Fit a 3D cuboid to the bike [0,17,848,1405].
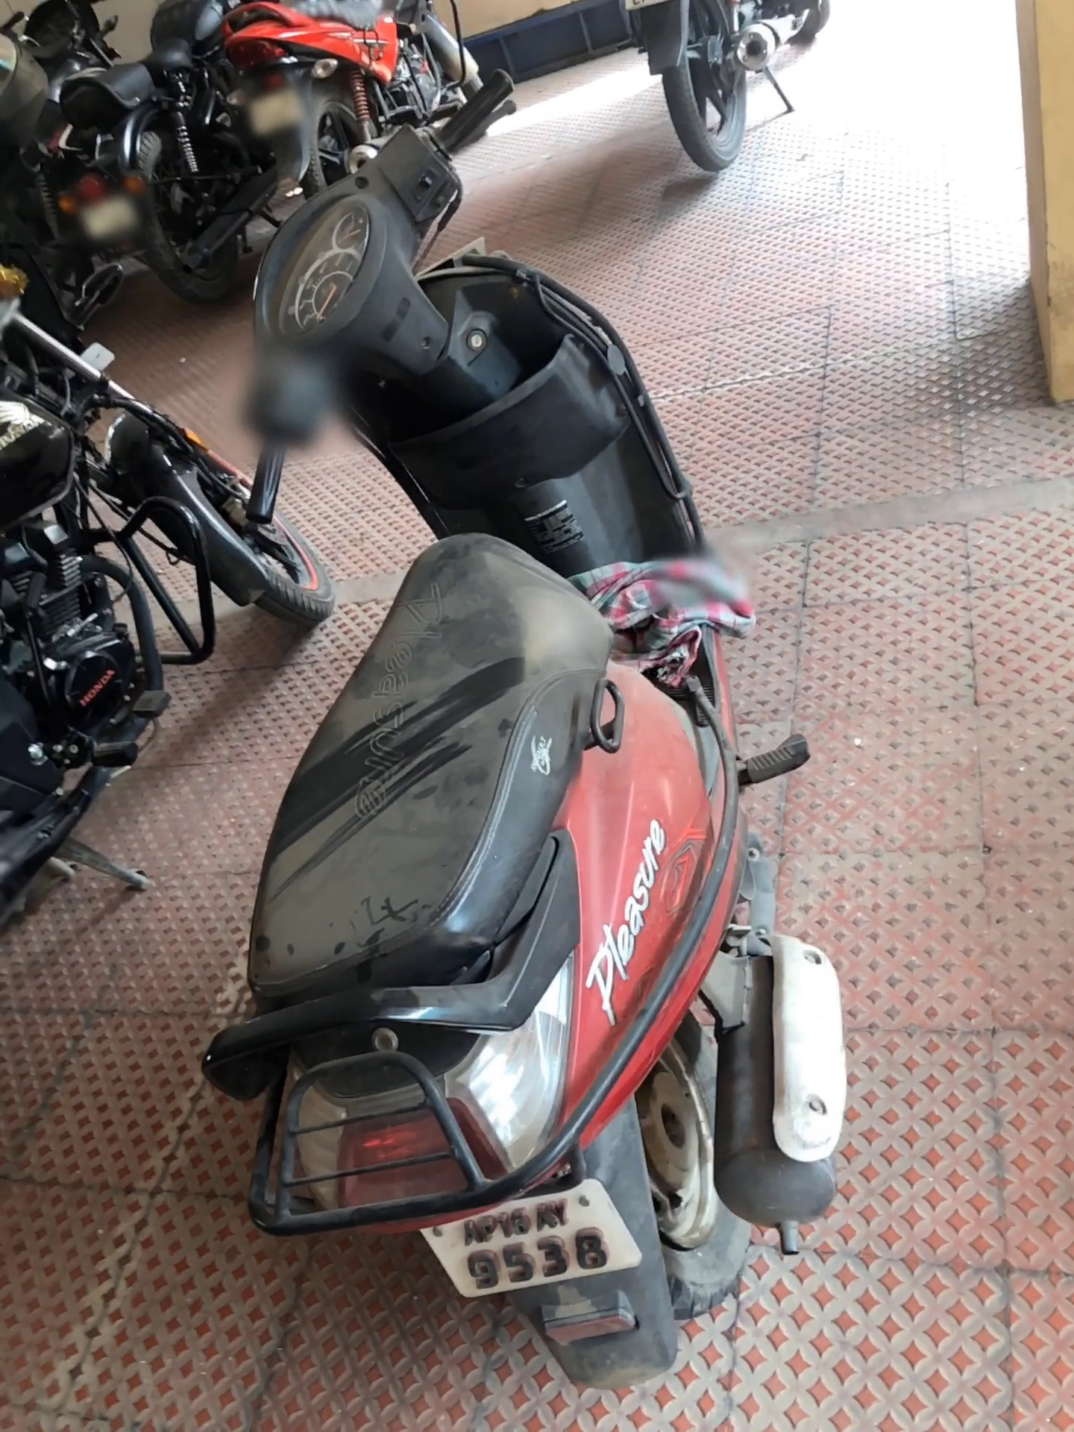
[{"bbox_3d":[-0.148,-0.146,1.634,0.599,1.030,1.659,-16,40,11],"label":"bike"}]
